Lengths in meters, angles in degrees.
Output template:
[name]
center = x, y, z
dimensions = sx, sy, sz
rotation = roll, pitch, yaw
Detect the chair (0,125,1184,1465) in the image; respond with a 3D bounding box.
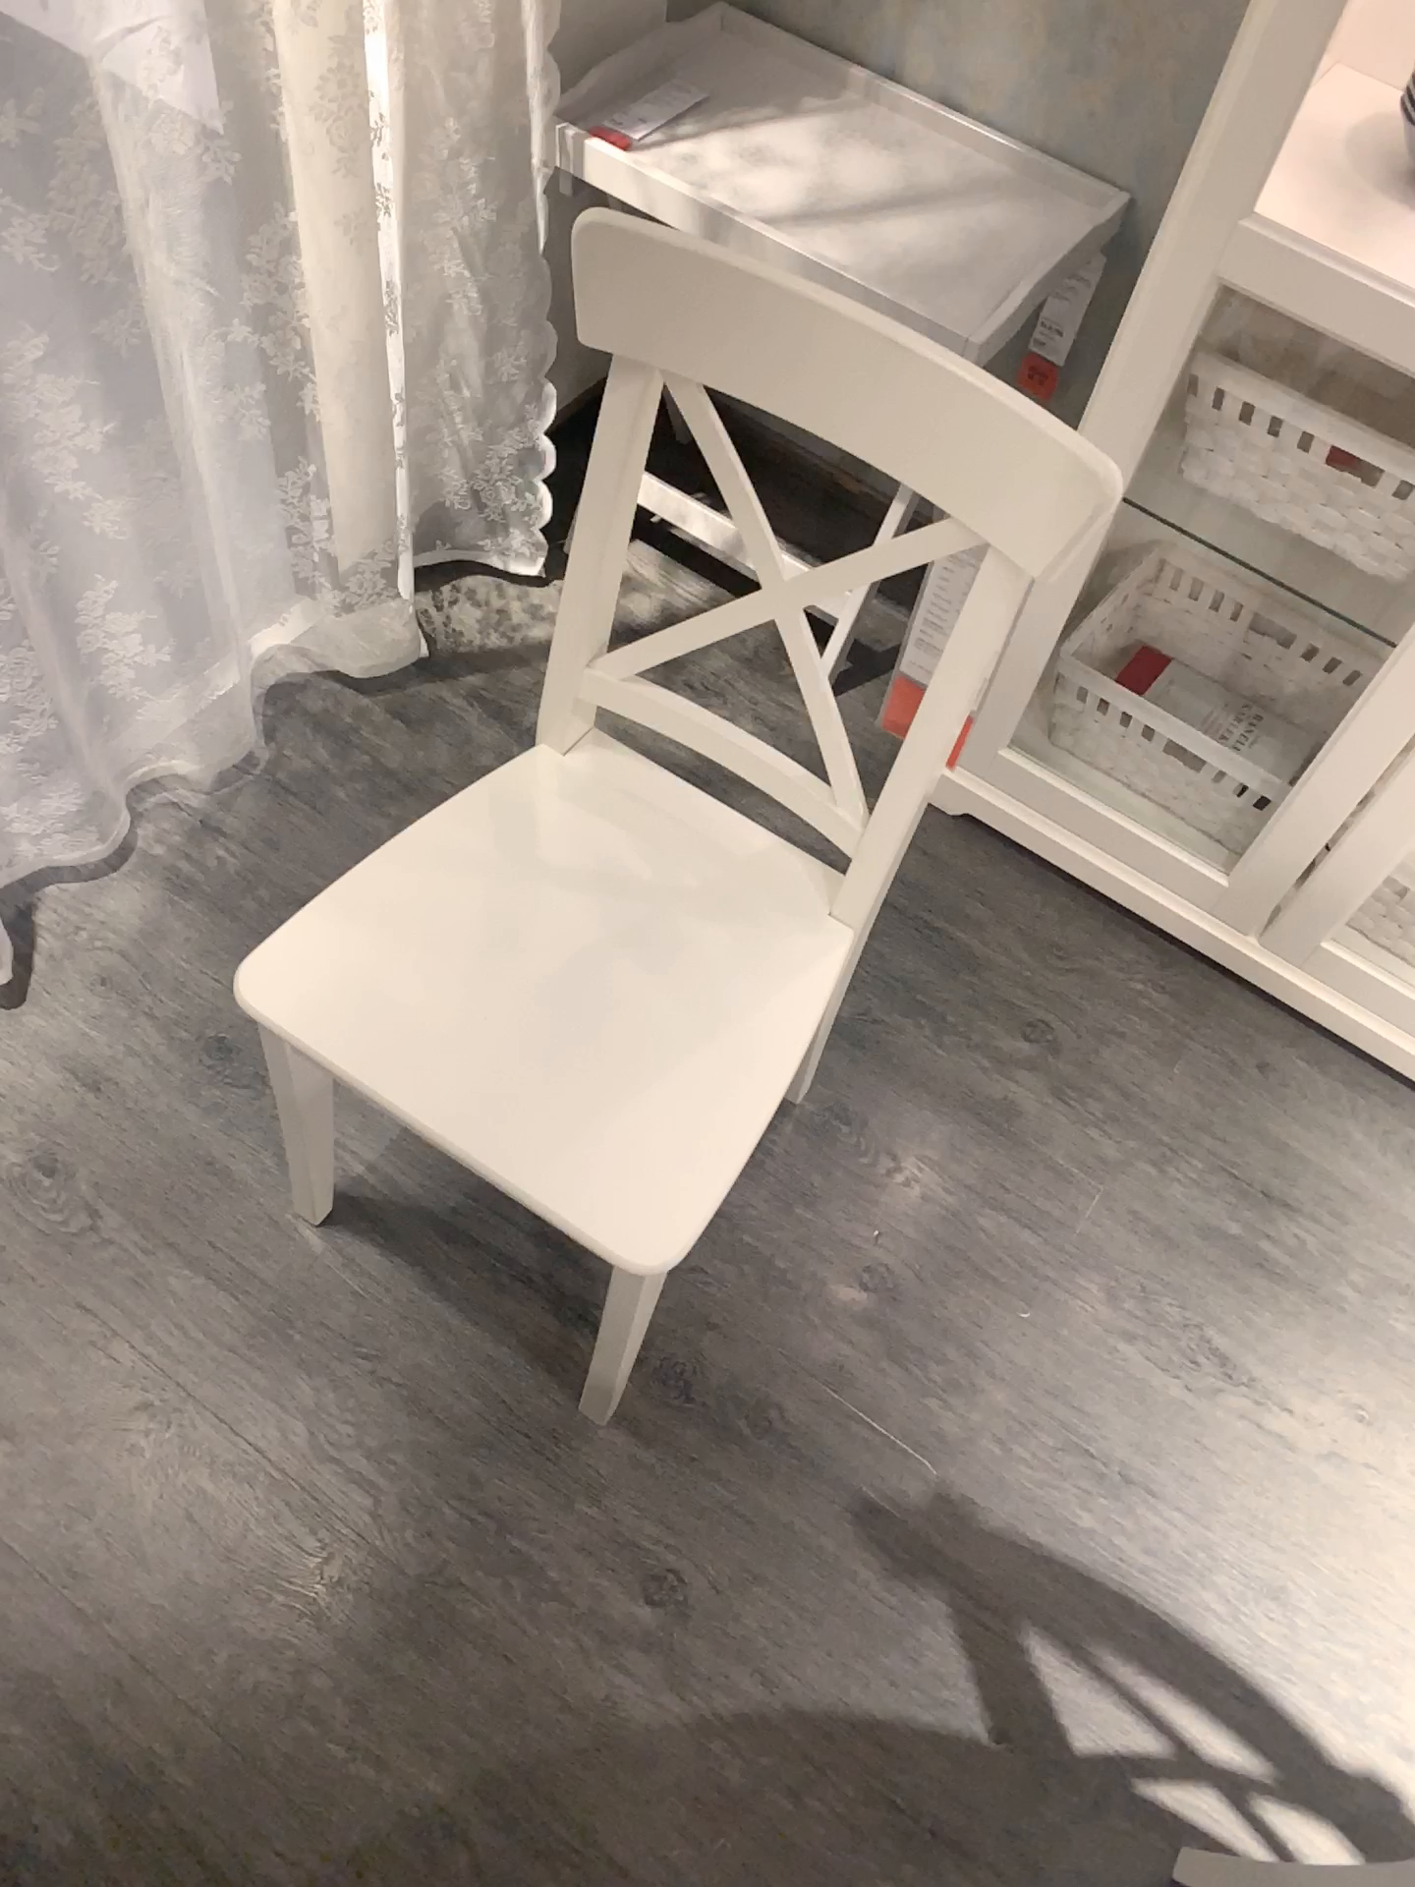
[chair]
center = -0.085, -0.032, 1.131
dimensions = 0.440, 0.858, 0.491
rotation = 32, 58, 13
